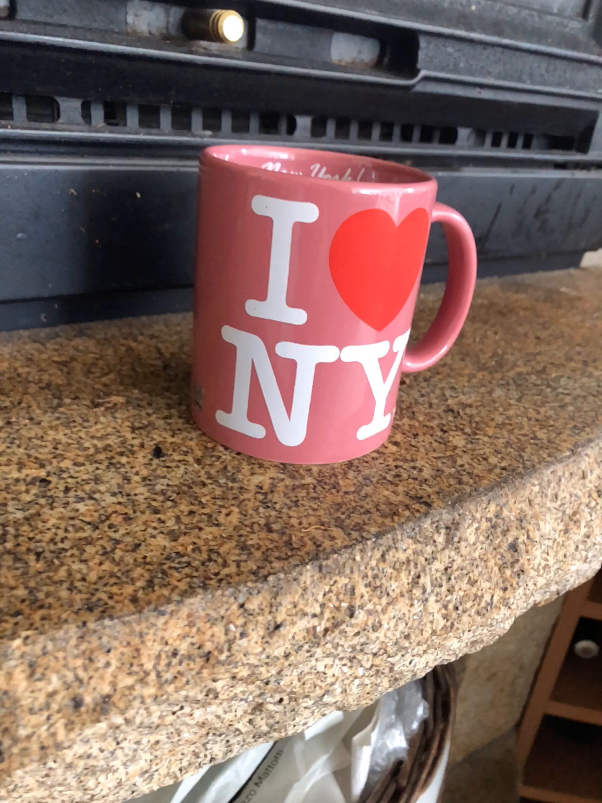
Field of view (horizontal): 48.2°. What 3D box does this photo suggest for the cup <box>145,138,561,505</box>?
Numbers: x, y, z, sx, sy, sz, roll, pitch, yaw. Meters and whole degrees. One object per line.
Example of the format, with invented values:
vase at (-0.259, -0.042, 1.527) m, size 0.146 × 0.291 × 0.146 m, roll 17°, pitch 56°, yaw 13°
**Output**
cup at (0.015, -0.041, 0.263) m, size 0.121 × 0.099 × 0.090 m, roll -14°, pitch 33°, yaw -36°
